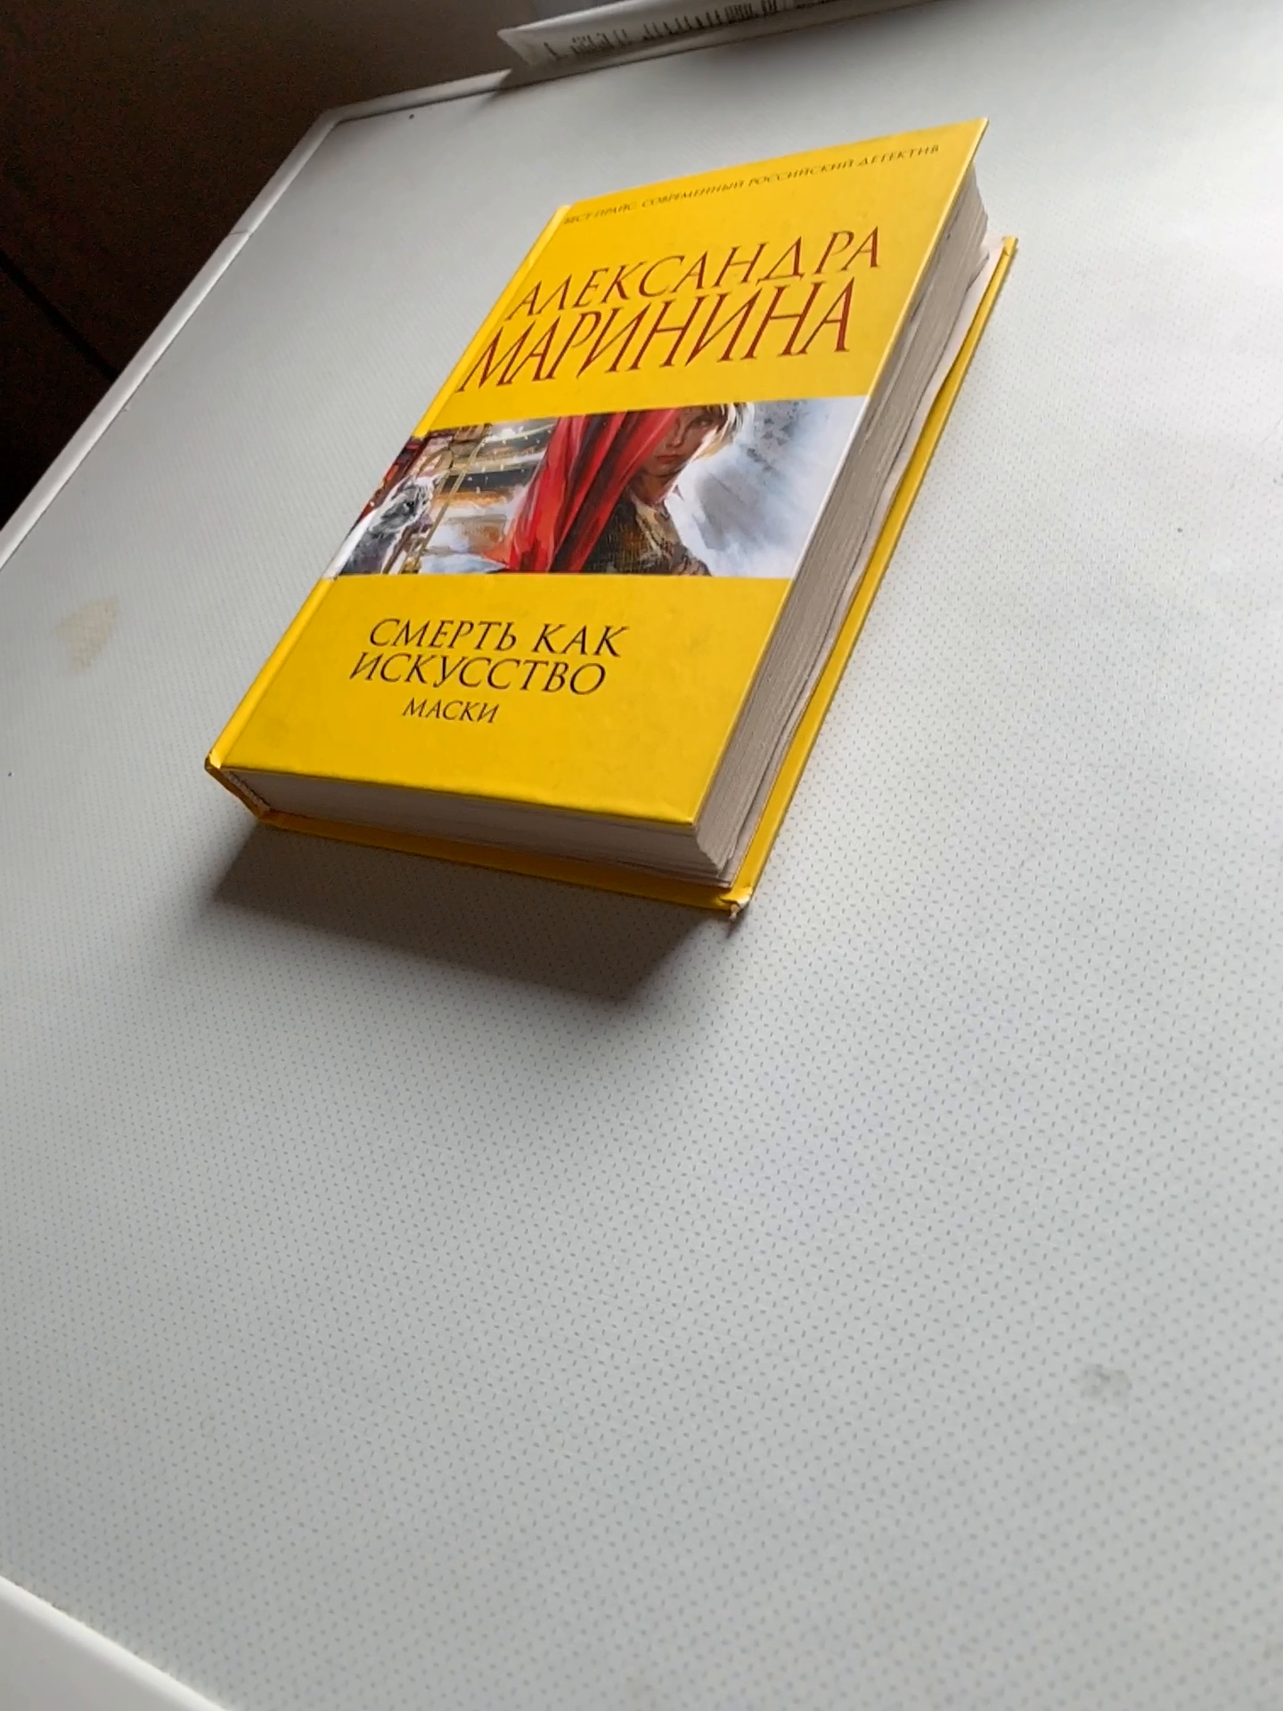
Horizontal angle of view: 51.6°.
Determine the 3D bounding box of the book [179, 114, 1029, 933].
[{"bbox_3d":[-0.002,-0.080,0.288,0.120,0.030,0.189,8,60,32],"label":"book"}]
